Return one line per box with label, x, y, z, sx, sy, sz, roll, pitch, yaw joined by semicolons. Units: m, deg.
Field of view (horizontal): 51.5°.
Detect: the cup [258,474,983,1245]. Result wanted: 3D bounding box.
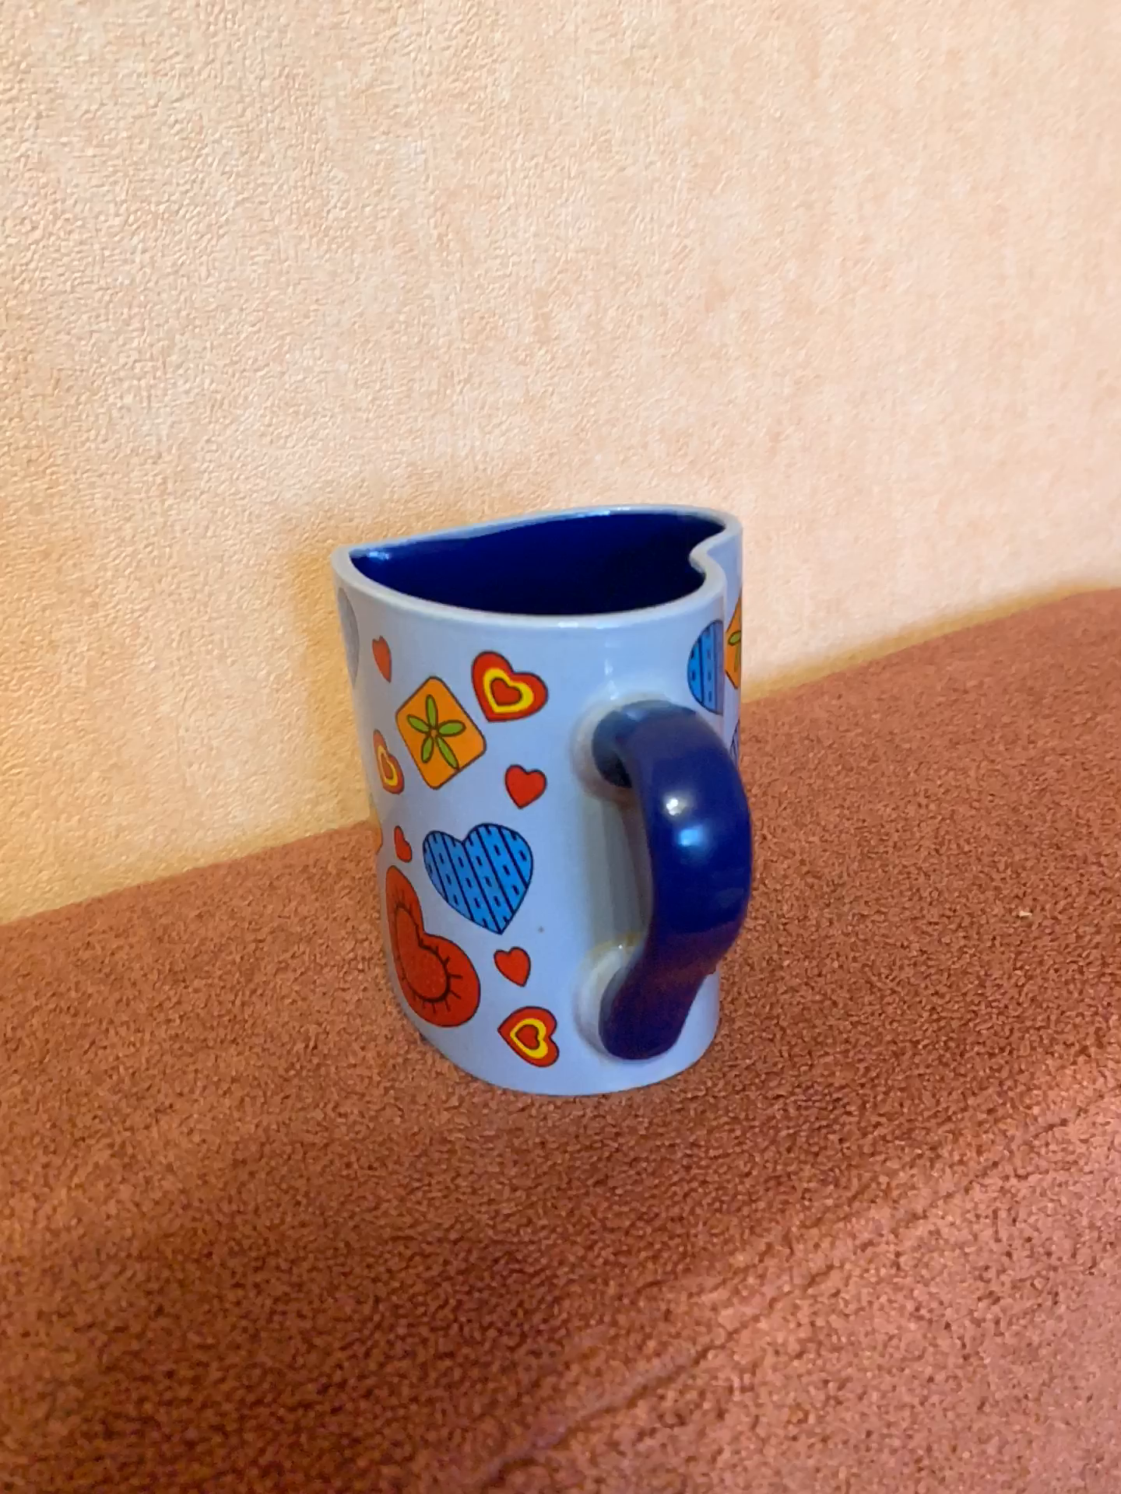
cup;0.005;0.008;0.216;0.088;0.090;0.098;-14;27;-22
